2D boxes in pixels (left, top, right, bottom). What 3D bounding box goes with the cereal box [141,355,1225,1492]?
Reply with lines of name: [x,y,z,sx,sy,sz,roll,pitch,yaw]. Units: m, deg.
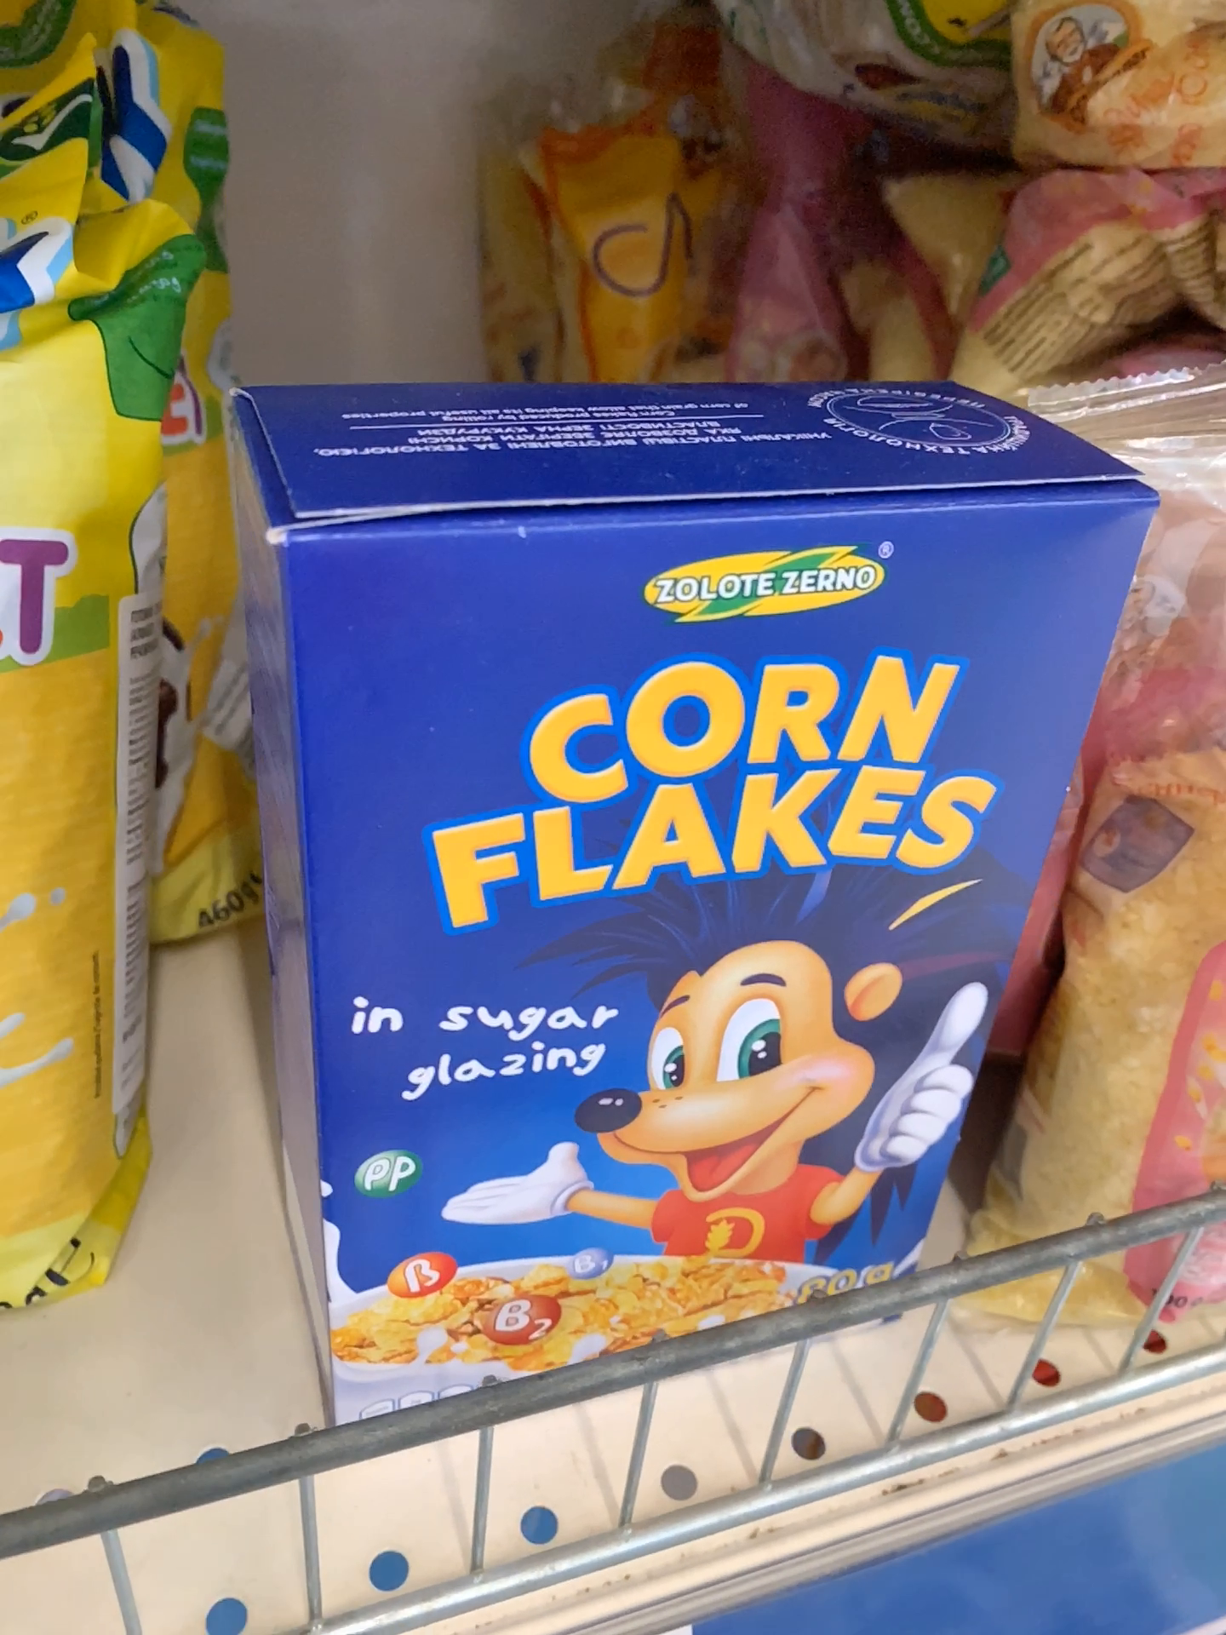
cereal box: [0.007,0.018,0.196,0.130,0.159,0.050,-7,36,-18]
